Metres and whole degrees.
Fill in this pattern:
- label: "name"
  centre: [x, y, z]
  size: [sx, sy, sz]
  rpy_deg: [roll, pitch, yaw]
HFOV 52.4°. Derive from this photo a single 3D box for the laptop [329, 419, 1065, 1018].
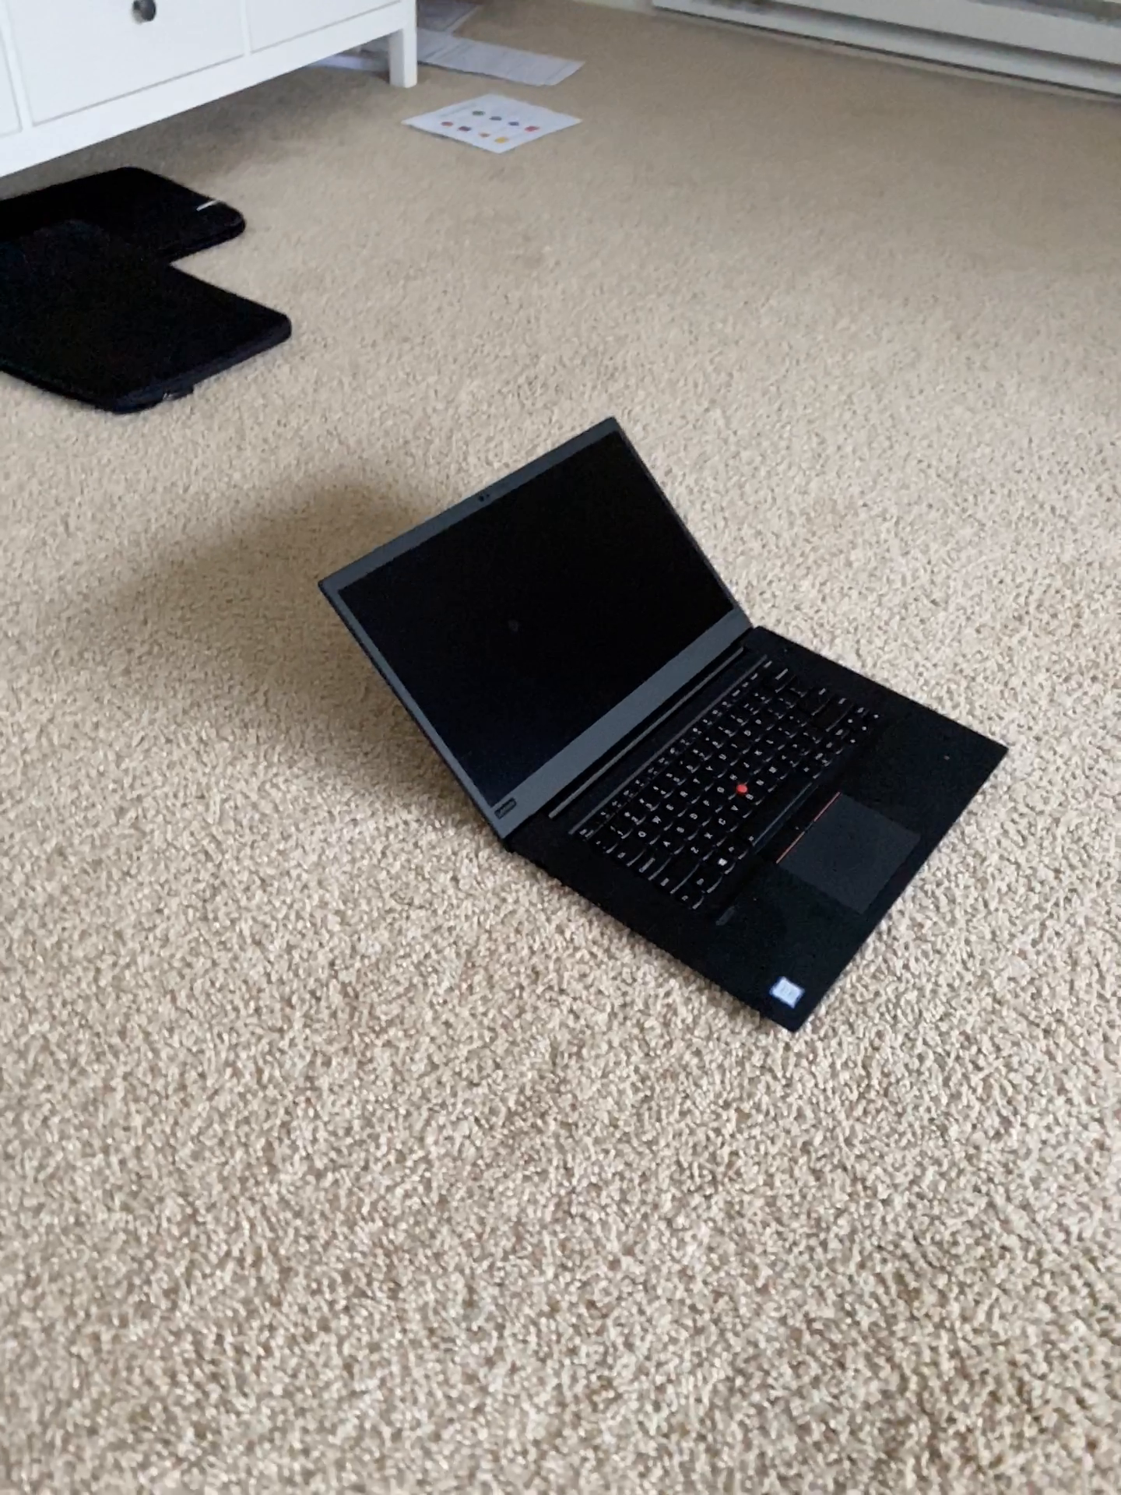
- label: "laptop"
  centre: [0.104, -0.063, 0.910]
  size: [0.433, 0.141, 0.361]
  rpy_deg: [30, 49, 24]
